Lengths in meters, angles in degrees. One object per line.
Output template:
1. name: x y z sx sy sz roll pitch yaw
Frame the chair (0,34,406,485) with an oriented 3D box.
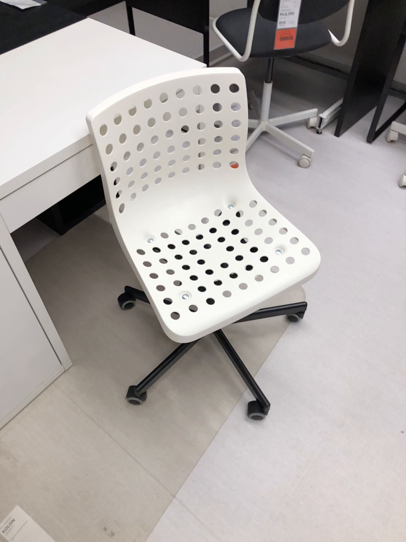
1. chair: 0.013 -0.038 1.156 0.671 0.746 0.653 -24 54 -20
